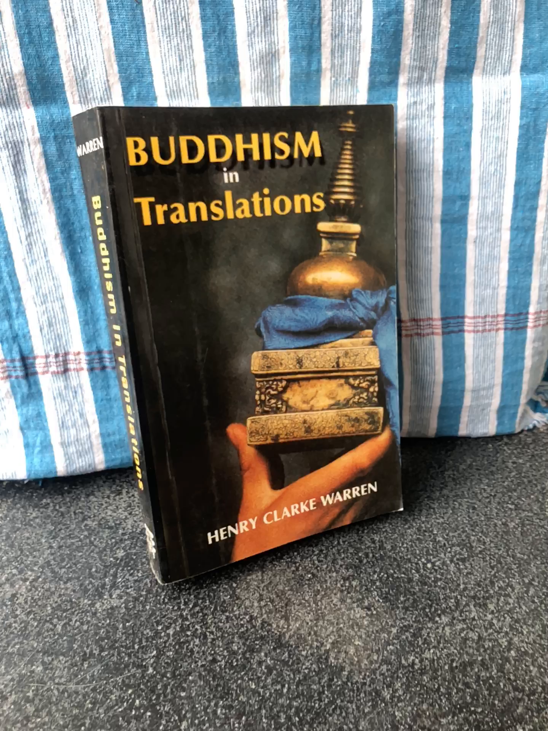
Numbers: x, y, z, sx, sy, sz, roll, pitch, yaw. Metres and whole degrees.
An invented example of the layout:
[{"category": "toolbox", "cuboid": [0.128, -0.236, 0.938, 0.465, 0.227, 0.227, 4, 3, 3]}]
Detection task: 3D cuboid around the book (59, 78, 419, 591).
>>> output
[{"category": "book", "cuboid": [-0.012, -0.021, 0.298, 0.140, 0.210, 0.050, -10, 8, -23]}]
